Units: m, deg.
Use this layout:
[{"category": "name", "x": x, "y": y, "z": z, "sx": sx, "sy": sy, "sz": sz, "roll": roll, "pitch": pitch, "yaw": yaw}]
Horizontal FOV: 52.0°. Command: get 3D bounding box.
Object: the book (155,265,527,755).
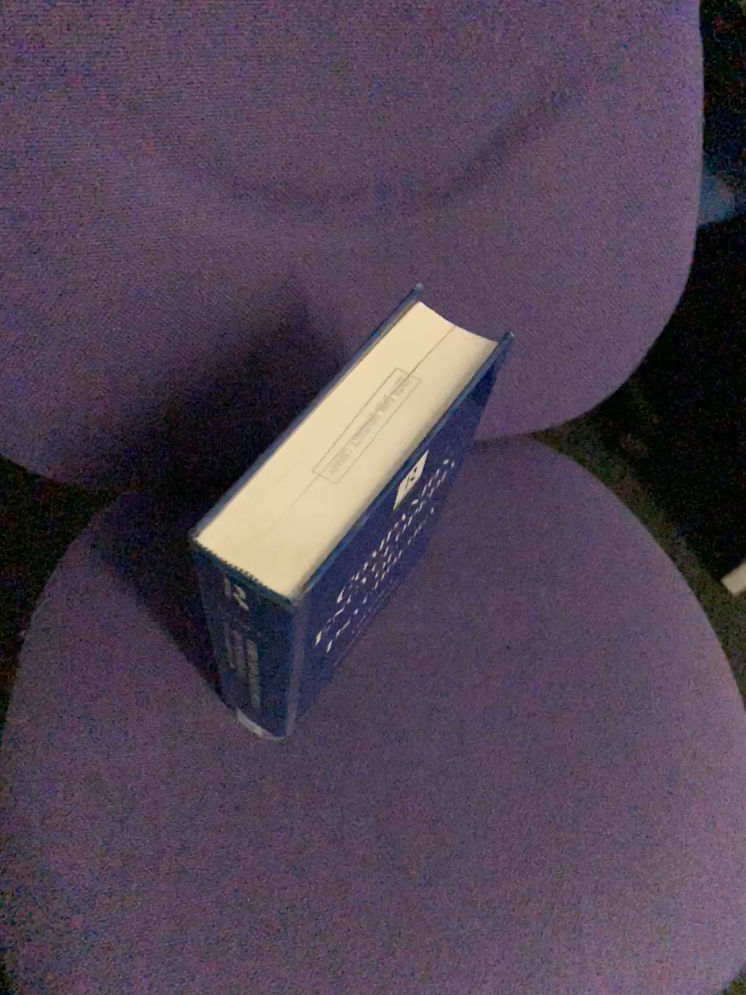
[{"category": "book", "x": -0.018, "y": 0.031, "z": 0.423, "sx": 0.052, "sy": 0.264, "sz": 0.182, "roll": 34, "pitch": 65, "yaw": 10}]
